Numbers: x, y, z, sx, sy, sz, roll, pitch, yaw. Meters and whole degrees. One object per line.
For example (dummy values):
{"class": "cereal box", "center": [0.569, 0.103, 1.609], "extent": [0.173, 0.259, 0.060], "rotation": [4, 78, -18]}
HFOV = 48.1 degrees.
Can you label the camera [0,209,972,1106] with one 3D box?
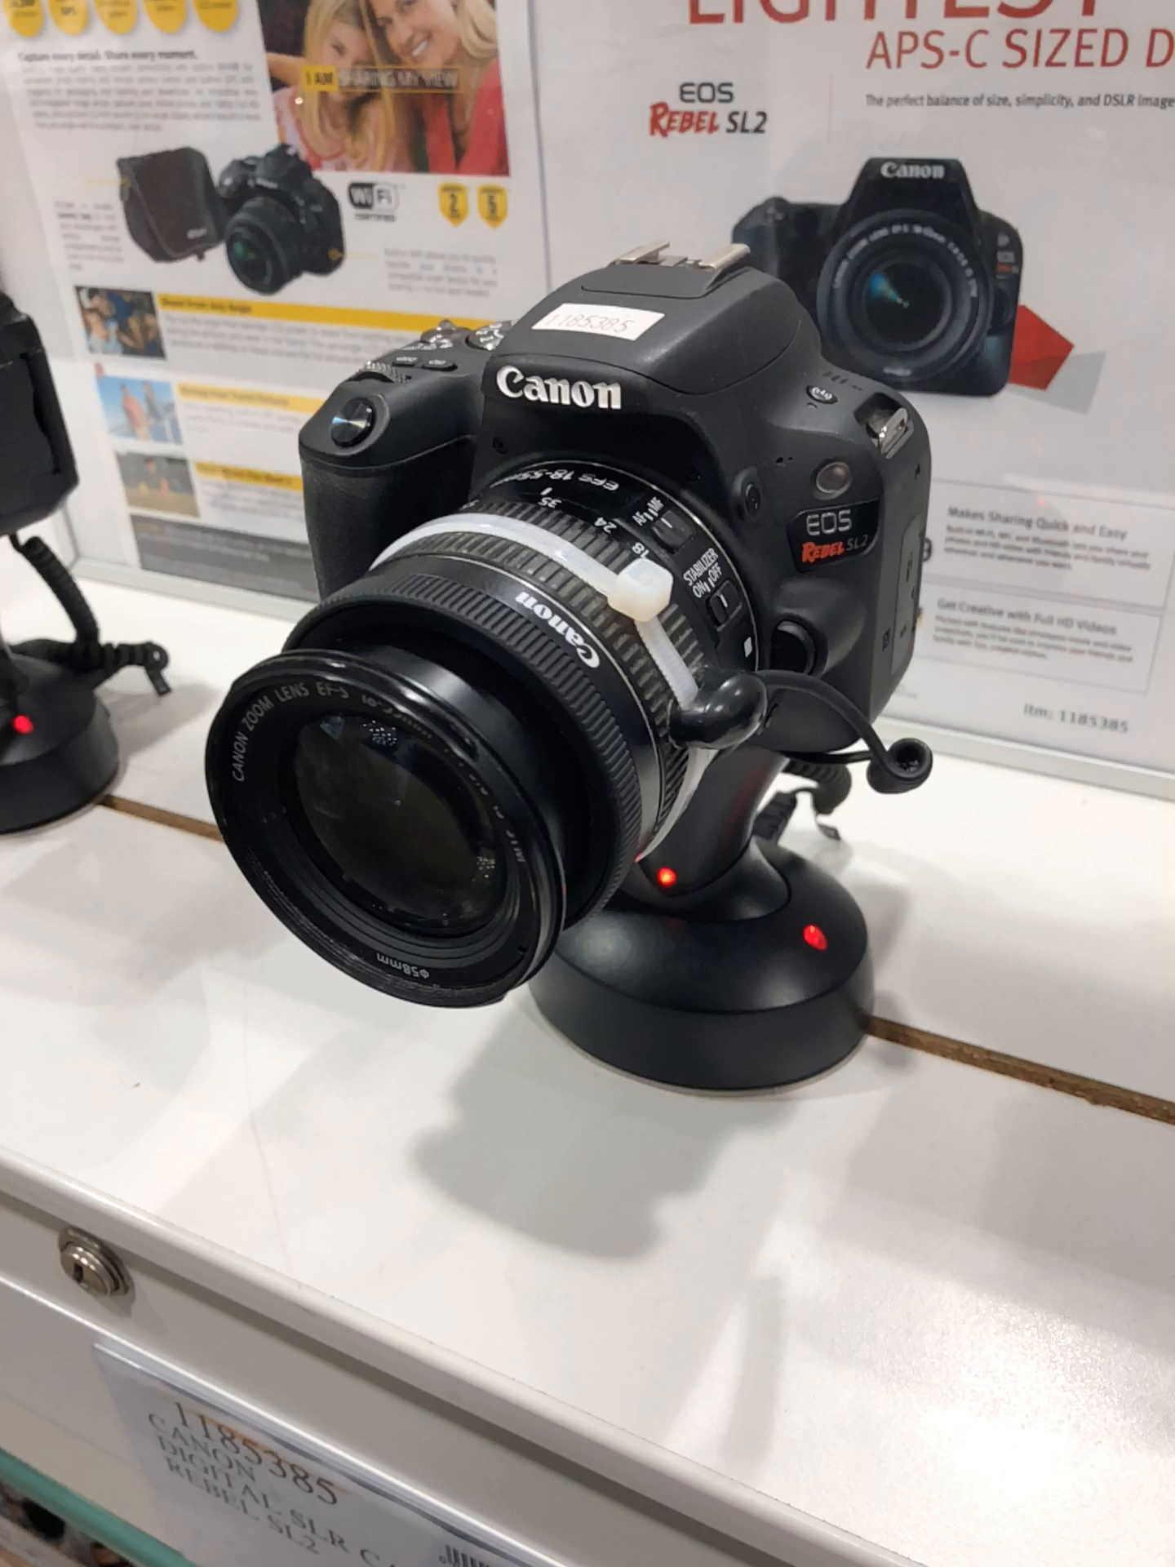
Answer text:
{"class": "camera", "center": [-0.016, -0.041, 0.239], "extent": [0.130, 0.090, 0.140], "rotation": [12, 36, 22]}
